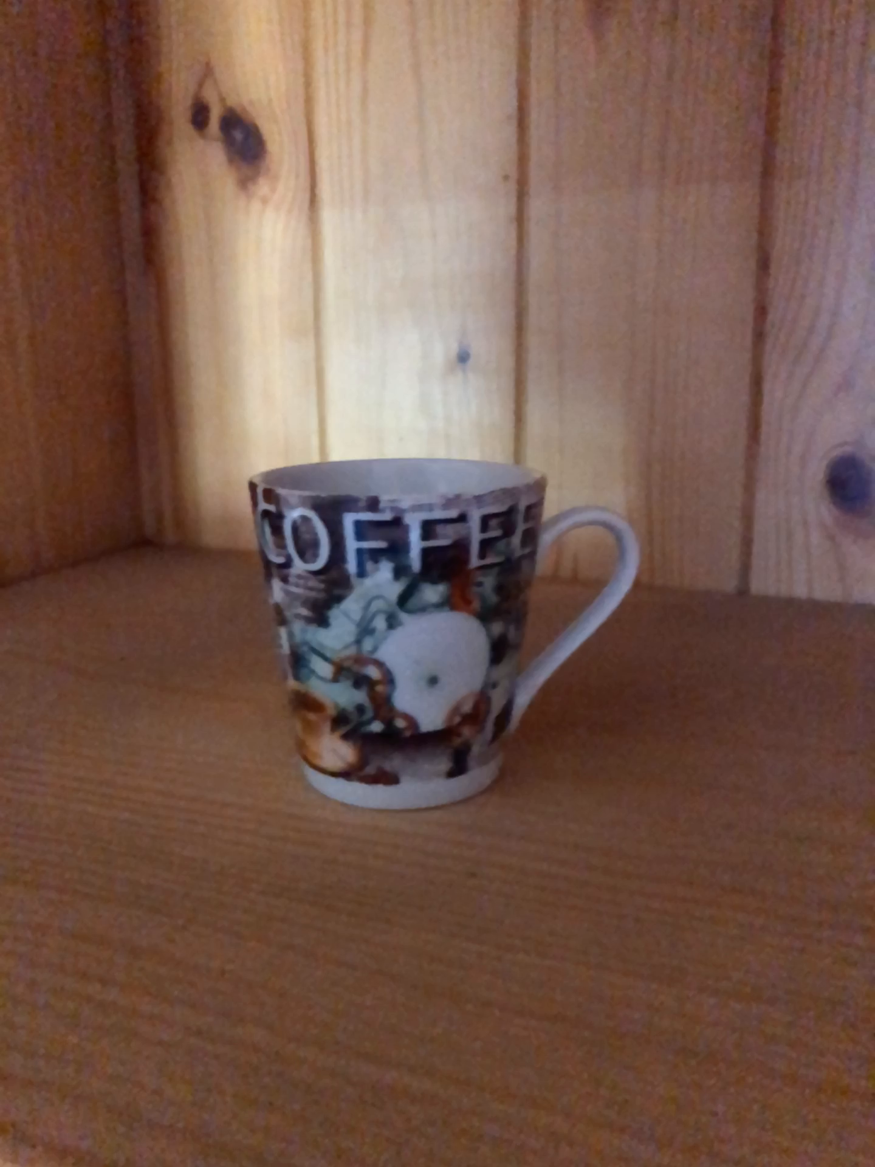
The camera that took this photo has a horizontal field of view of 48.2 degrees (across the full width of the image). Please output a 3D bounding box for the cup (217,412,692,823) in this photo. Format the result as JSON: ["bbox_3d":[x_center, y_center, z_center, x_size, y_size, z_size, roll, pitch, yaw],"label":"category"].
[{"bbox_3d":[0.004,0.002,0.201,0.080,0.070,0.060,0,13,3],"label":"cup"}]
